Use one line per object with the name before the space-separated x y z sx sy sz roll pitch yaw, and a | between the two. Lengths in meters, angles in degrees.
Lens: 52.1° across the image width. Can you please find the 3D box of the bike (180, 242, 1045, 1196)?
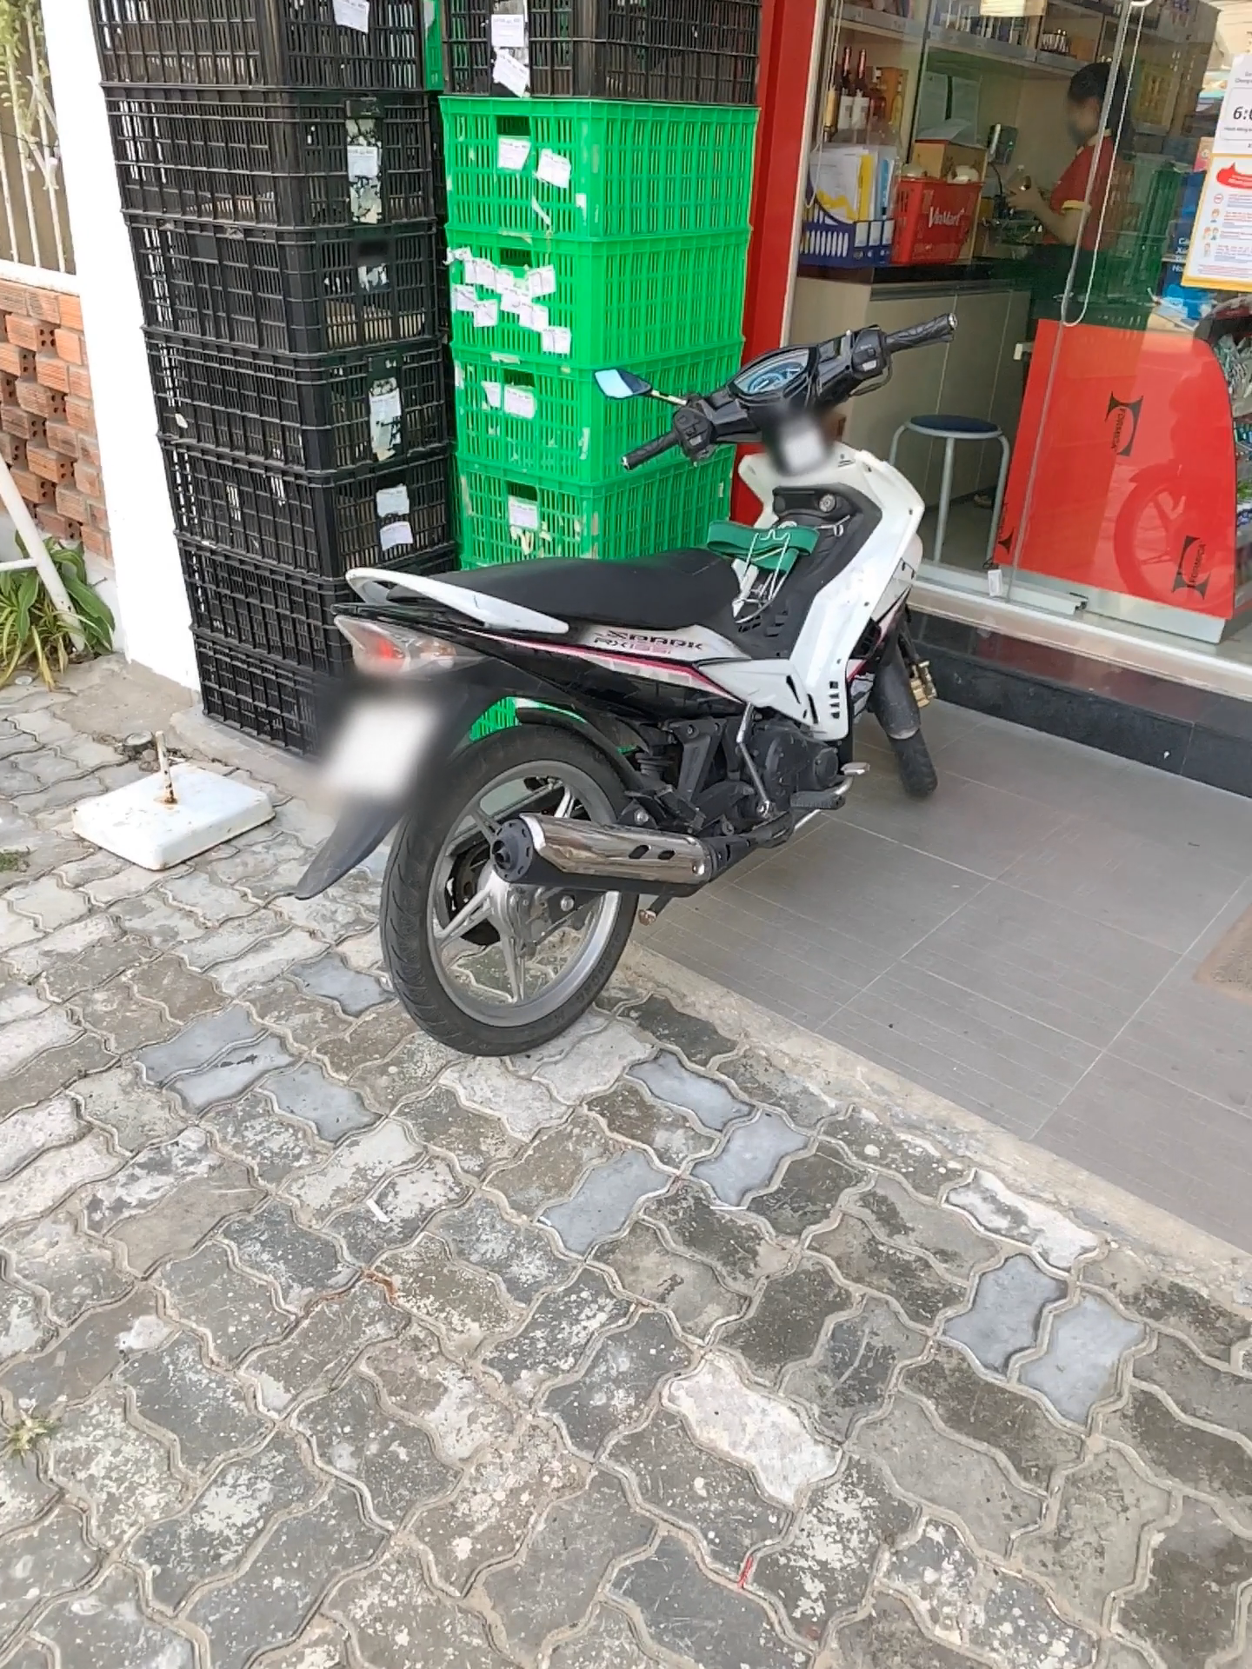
bike | 0.111 -0.441 2.555 0.668 1.186 1.821 20 34 28
